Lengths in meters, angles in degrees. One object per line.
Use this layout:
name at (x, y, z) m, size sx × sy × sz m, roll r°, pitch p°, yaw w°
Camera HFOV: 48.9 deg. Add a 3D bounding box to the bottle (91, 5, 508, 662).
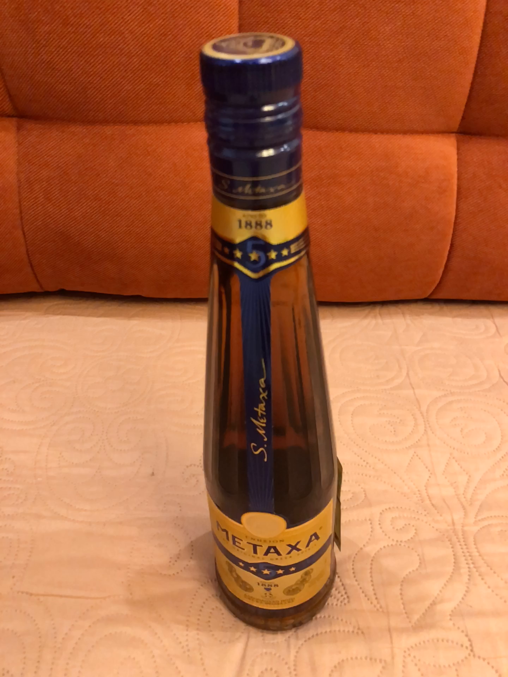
bottle at (0.015, 0.031, 0.264) m, size 0.100 × 0.308 × 0.091 m, roll 11°, pitch 41°, yaw 10°
